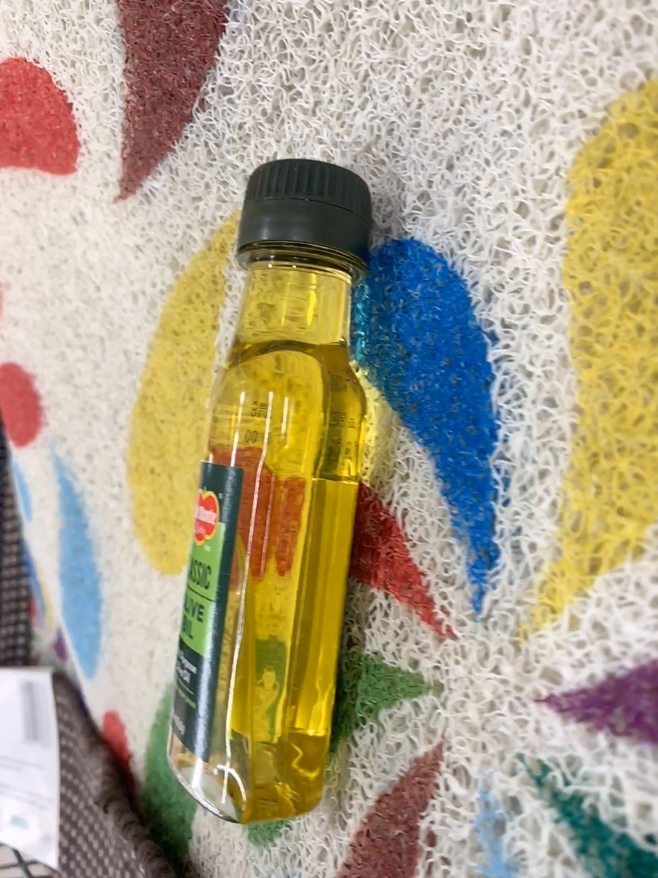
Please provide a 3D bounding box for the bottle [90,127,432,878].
[{"bbox_3d":[-0.016,0.014,0.145,0.050,0.040,0.130,7,93,52],"label":"bottle"}]
